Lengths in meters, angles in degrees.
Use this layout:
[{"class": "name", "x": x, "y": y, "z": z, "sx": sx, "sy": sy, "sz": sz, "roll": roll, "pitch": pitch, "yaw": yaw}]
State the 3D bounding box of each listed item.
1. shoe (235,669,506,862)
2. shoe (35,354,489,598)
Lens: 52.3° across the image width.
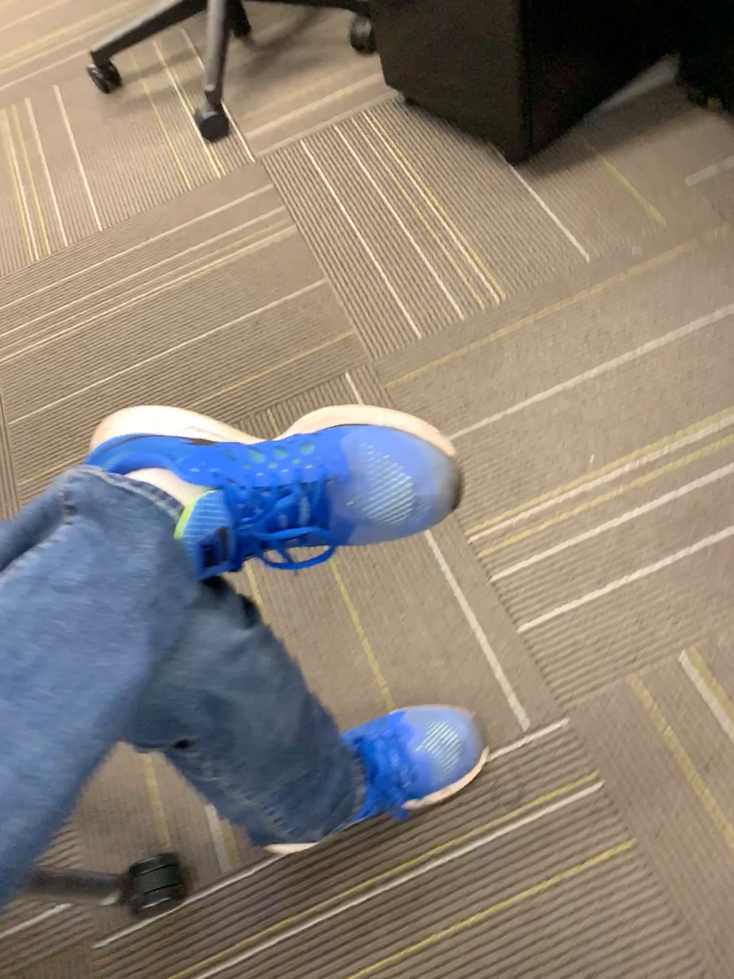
[{"class": "shoe", "x": 0.006, "y": 0.319, "z": 0.861, "sx": 0.283, "sy": 0.086, "sz": 0.101, "roll": -23, "pitch": 58, "yaw": 0}, {"class": "shoe", "x": -0.060, "y": -0.006, "z": 0.519, "sx": 0.275, "sy": 0.117, "sz": 0.103, "roll": -3, "pitch": 35, "yaw": 13}]
